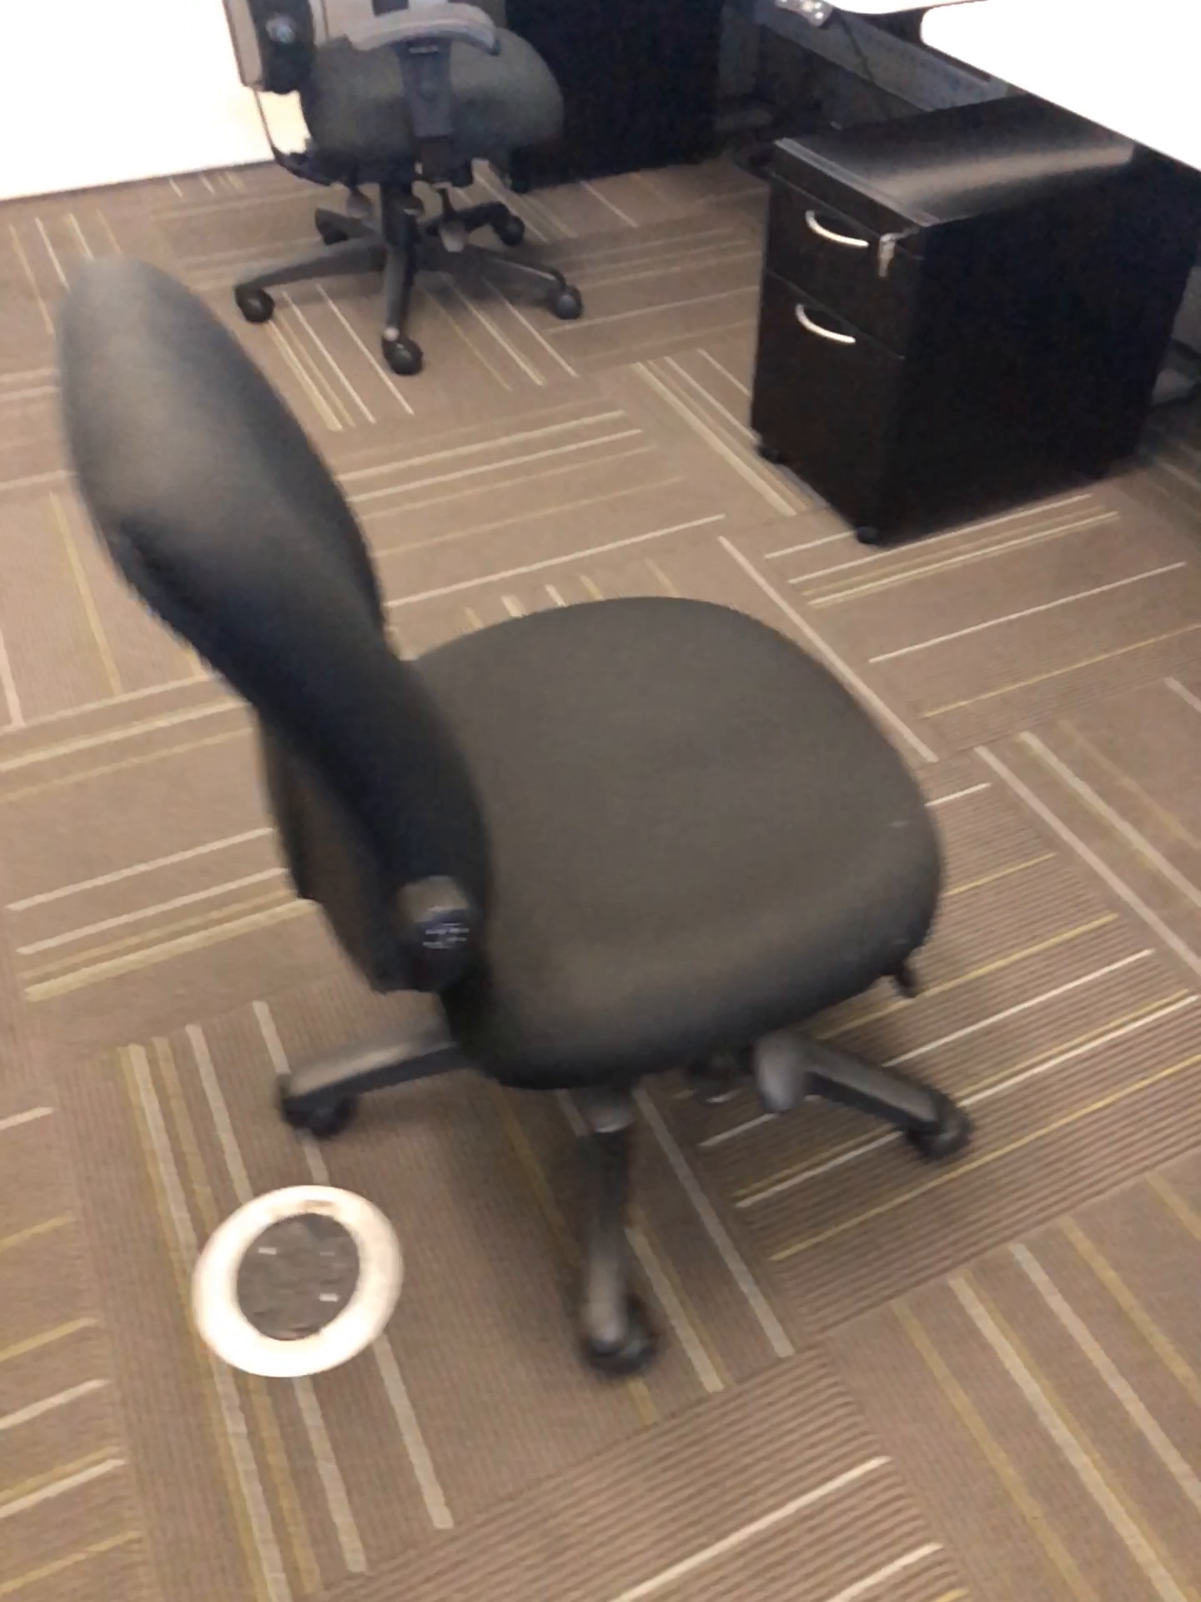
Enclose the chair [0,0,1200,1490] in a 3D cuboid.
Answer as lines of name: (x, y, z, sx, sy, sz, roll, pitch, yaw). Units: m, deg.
chair: (-0.018, -0.093, 1.167, 0.760, 0.846, 0.773, -18, 47, -18)
